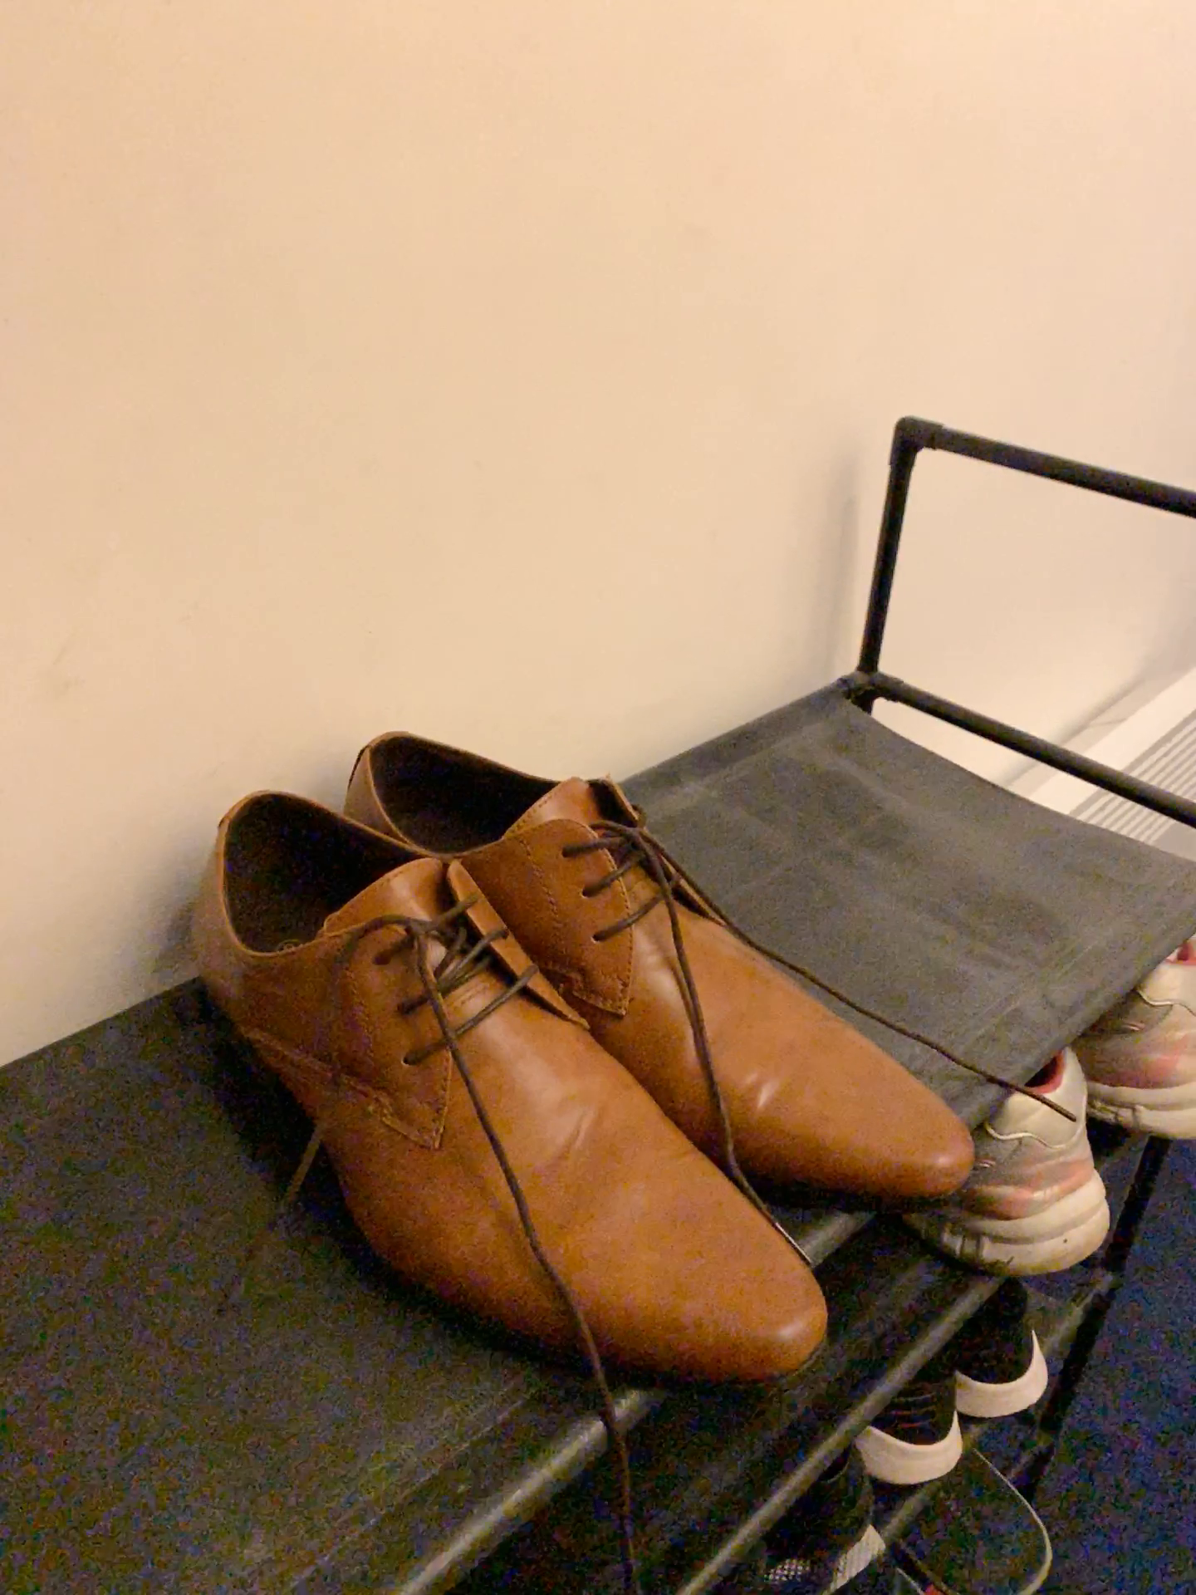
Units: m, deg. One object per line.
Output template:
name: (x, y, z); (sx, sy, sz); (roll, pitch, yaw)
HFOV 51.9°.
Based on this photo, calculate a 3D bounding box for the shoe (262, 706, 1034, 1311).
shoe: (0.006, 0.066, 0.508); (0.301, 0.099, 0.101); (21, 36, 31)

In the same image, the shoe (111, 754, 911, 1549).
shoe: (-0.050, 0.097, 0.446); (0.101, 0.099, 0.301); (-26, 40, -38)
